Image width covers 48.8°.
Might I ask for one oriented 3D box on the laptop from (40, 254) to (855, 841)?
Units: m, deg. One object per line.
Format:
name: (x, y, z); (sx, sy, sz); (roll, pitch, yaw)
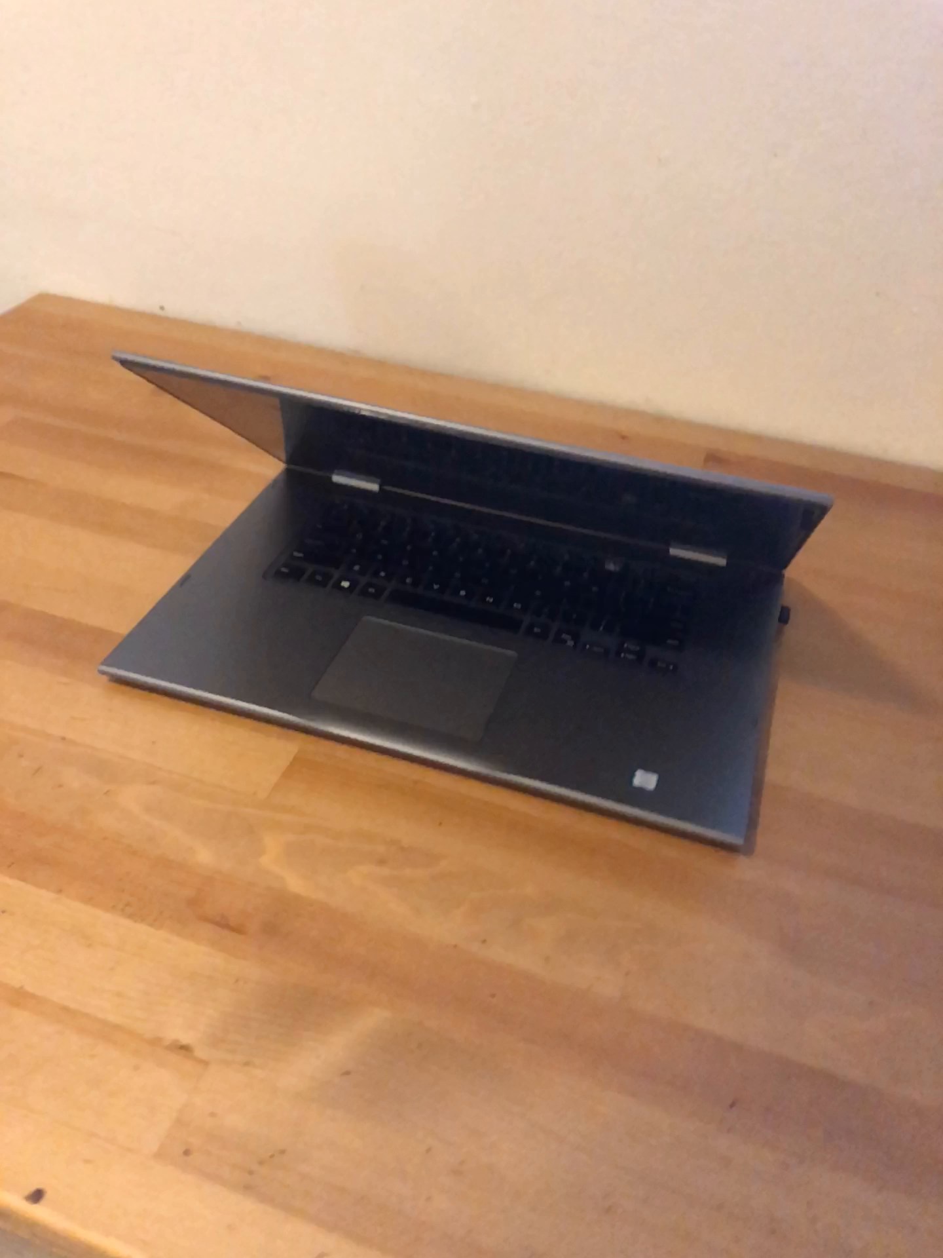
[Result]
laptop: (0.005, -0.070, 0.610); (0.375, 0.165, 0.248); (13, 40, 12)
